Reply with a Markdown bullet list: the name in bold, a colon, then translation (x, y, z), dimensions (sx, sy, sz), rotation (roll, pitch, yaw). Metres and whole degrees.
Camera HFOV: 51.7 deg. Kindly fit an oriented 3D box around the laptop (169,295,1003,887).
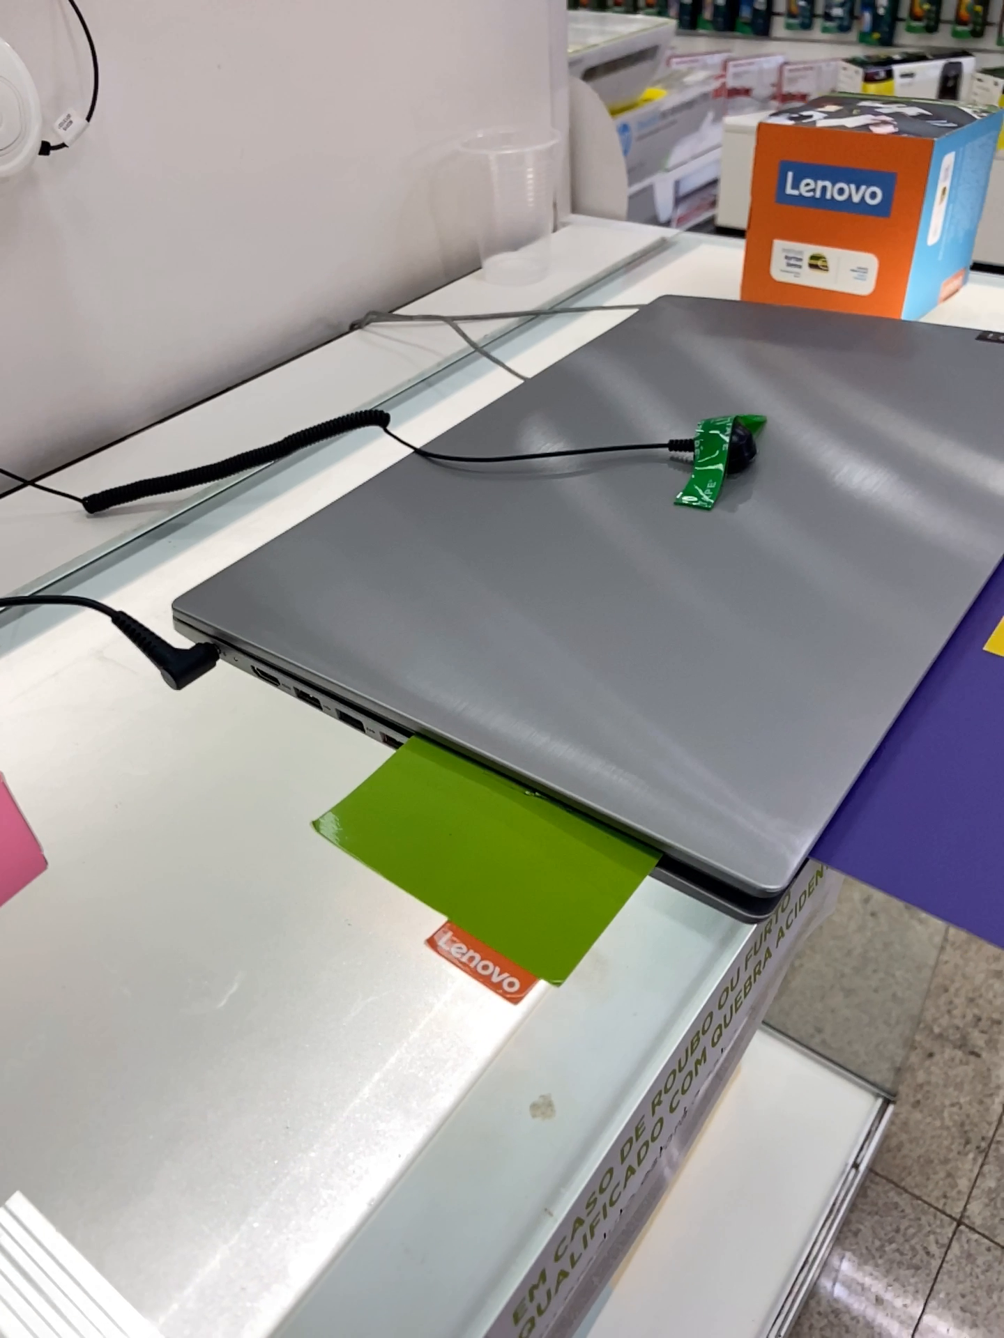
- **laptop**: translation (0.081, -0.081, 0.433), dimensions (0.240, 0.001, 0.363), rotation (22, 46, 30)
